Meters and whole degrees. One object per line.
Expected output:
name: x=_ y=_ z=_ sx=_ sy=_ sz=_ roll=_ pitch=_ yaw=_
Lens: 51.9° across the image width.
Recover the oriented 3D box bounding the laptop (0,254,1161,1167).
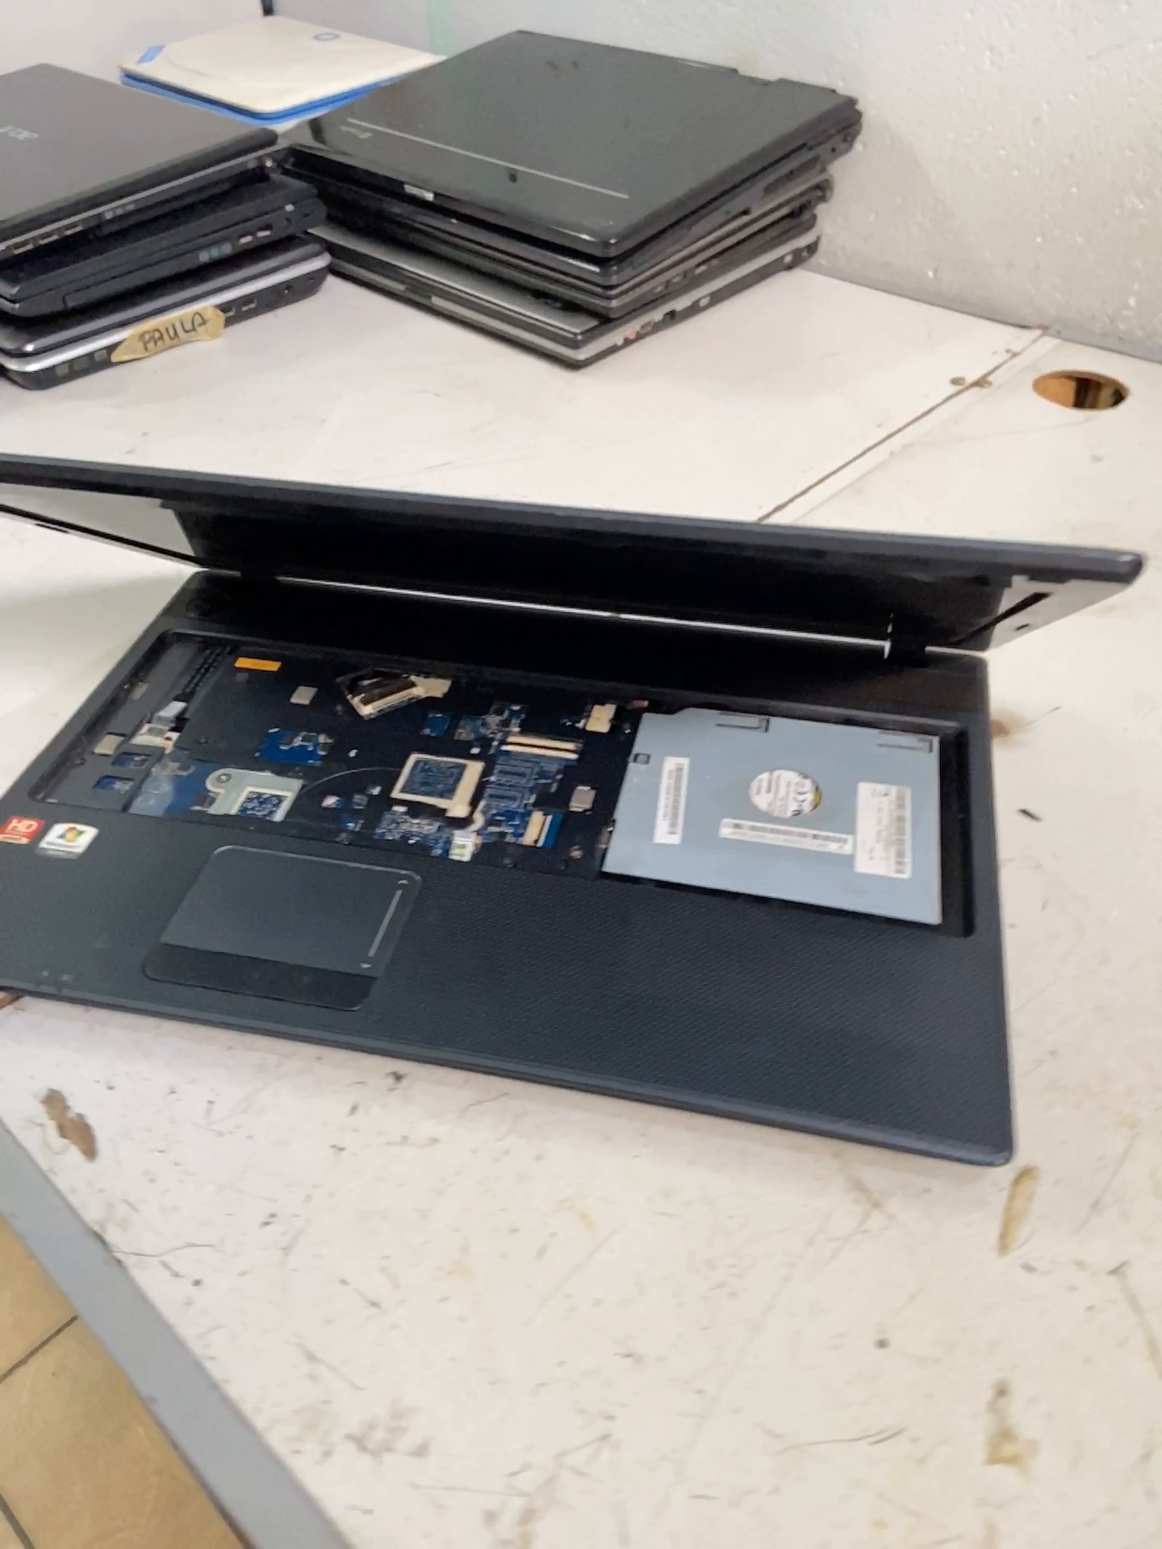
laptop: x=-0.037 y=-0.050 z=0.410 sx=0.370 sy=0.156 sz=0.240 roll=7 pitch=42 yaw=11
